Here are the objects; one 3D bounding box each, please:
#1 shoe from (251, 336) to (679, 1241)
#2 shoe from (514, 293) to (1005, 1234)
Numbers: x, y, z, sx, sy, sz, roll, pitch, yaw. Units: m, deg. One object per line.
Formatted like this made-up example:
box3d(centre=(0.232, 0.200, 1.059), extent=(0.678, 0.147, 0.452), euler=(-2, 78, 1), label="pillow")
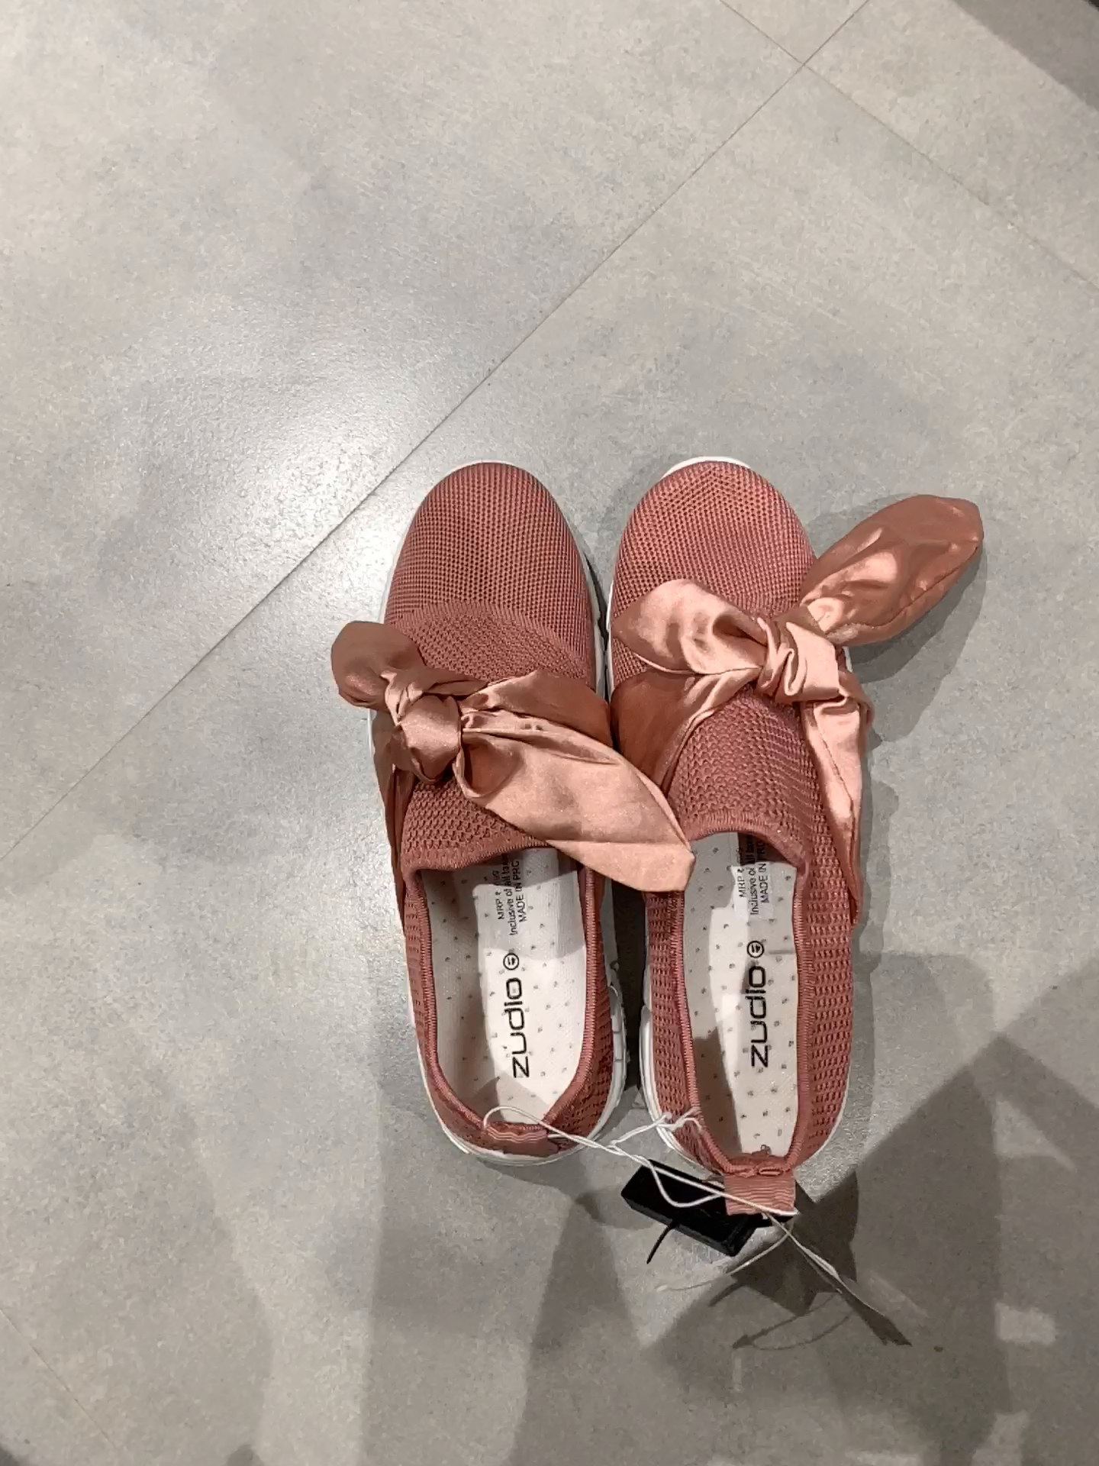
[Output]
box3d(centre=(-0.027, 0.018, 0.396), extent=(0.110, 0.100, 0.270), euler=(-6, 81, 4), label="shoe")
box3d(centre=(0.061, 0.009, 0.382), extent=(0.110, 0.100, 0.270), euler=(-6, 81, 4), label="shoe")
